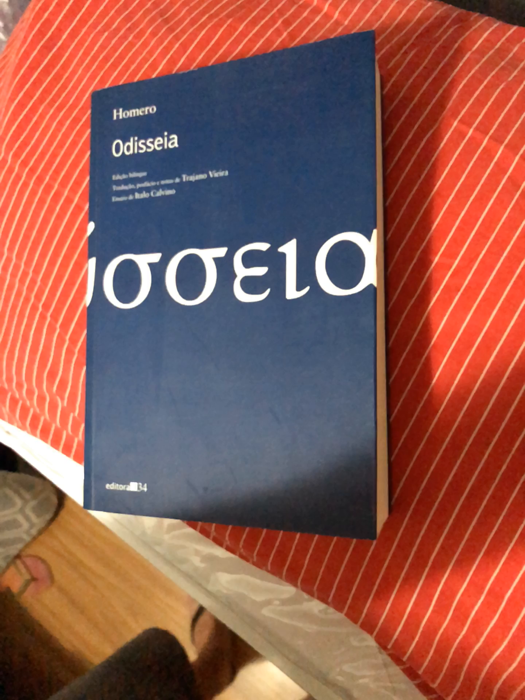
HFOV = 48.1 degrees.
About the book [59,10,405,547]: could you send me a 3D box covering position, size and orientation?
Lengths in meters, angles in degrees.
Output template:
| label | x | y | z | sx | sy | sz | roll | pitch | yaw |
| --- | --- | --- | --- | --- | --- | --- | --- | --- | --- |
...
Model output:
| label | x | y | z | sx | sy | sz | roll | pitch | yaw |
| --- | --- | --- | --- | --- | --- | --- | --- | --- | --- |
| book | -0.018 | -0.031 | 0.300 | 0.170 | 0.040 | 0.230 | -2 | 85 | 23 |
